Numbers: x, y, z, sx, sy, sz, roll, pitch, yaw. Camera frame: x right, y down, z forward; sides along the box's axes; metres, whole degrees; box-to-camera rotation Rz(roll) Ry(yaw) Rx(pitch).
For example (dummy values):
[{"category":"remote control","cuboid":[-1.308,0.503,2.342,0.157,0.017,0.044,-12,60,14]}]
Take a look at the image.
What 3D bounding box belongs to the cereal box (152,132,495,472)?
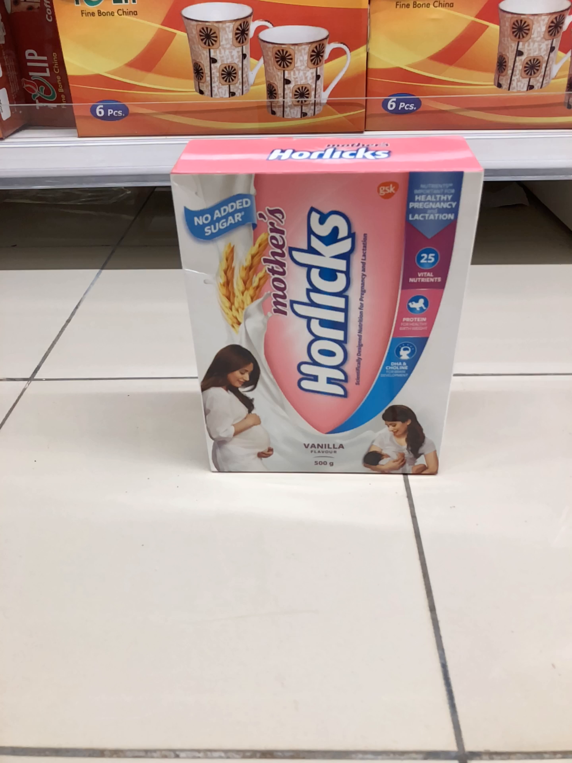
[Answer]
[{"category":"cereal box","cuboid":[0.020,-0.040,0.370,0.160,0.189,0.060,0,33,3]}]
